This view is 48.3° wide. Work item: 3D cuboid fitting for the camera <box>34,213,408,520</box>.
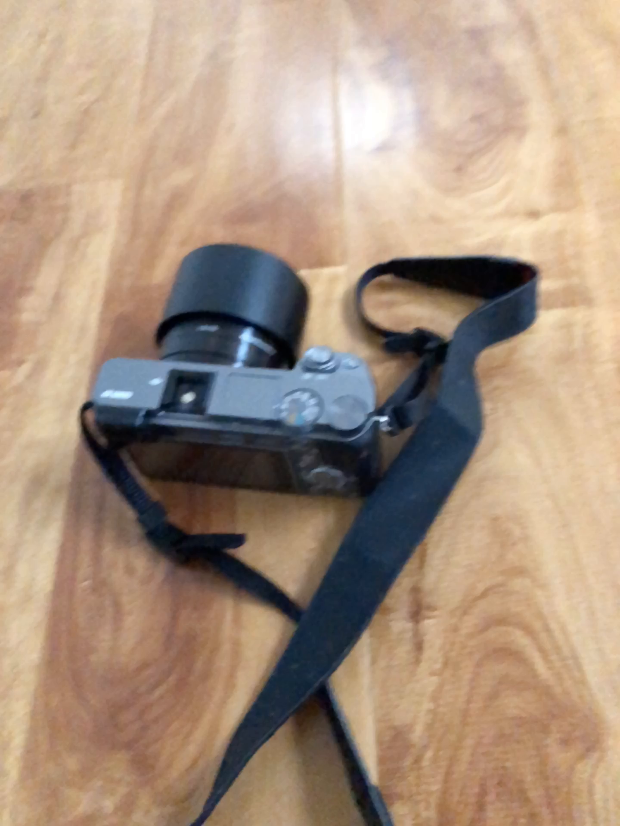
[{"bbox_3d":[-0.029,-0.024,0.328,0.140,0.080,0.110,5,59,11],"label":"camera"}]
